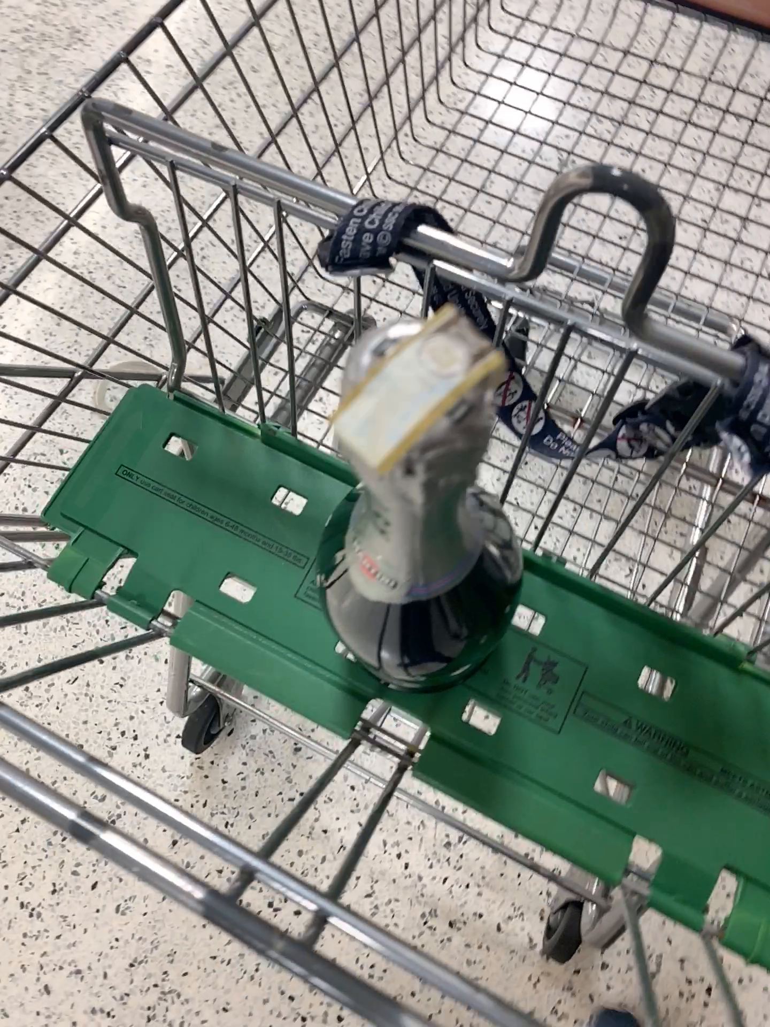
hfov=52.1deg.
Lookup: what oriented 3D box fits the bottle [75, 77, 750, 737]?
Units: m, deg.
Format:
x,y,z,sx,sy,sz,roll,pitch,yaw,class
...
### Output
x,y,z,sx,sy,sz,roll,pitch,yaw,class
0.011,0.008,0.301,0.100,0.289,0.100,-1,72,3,bottle
